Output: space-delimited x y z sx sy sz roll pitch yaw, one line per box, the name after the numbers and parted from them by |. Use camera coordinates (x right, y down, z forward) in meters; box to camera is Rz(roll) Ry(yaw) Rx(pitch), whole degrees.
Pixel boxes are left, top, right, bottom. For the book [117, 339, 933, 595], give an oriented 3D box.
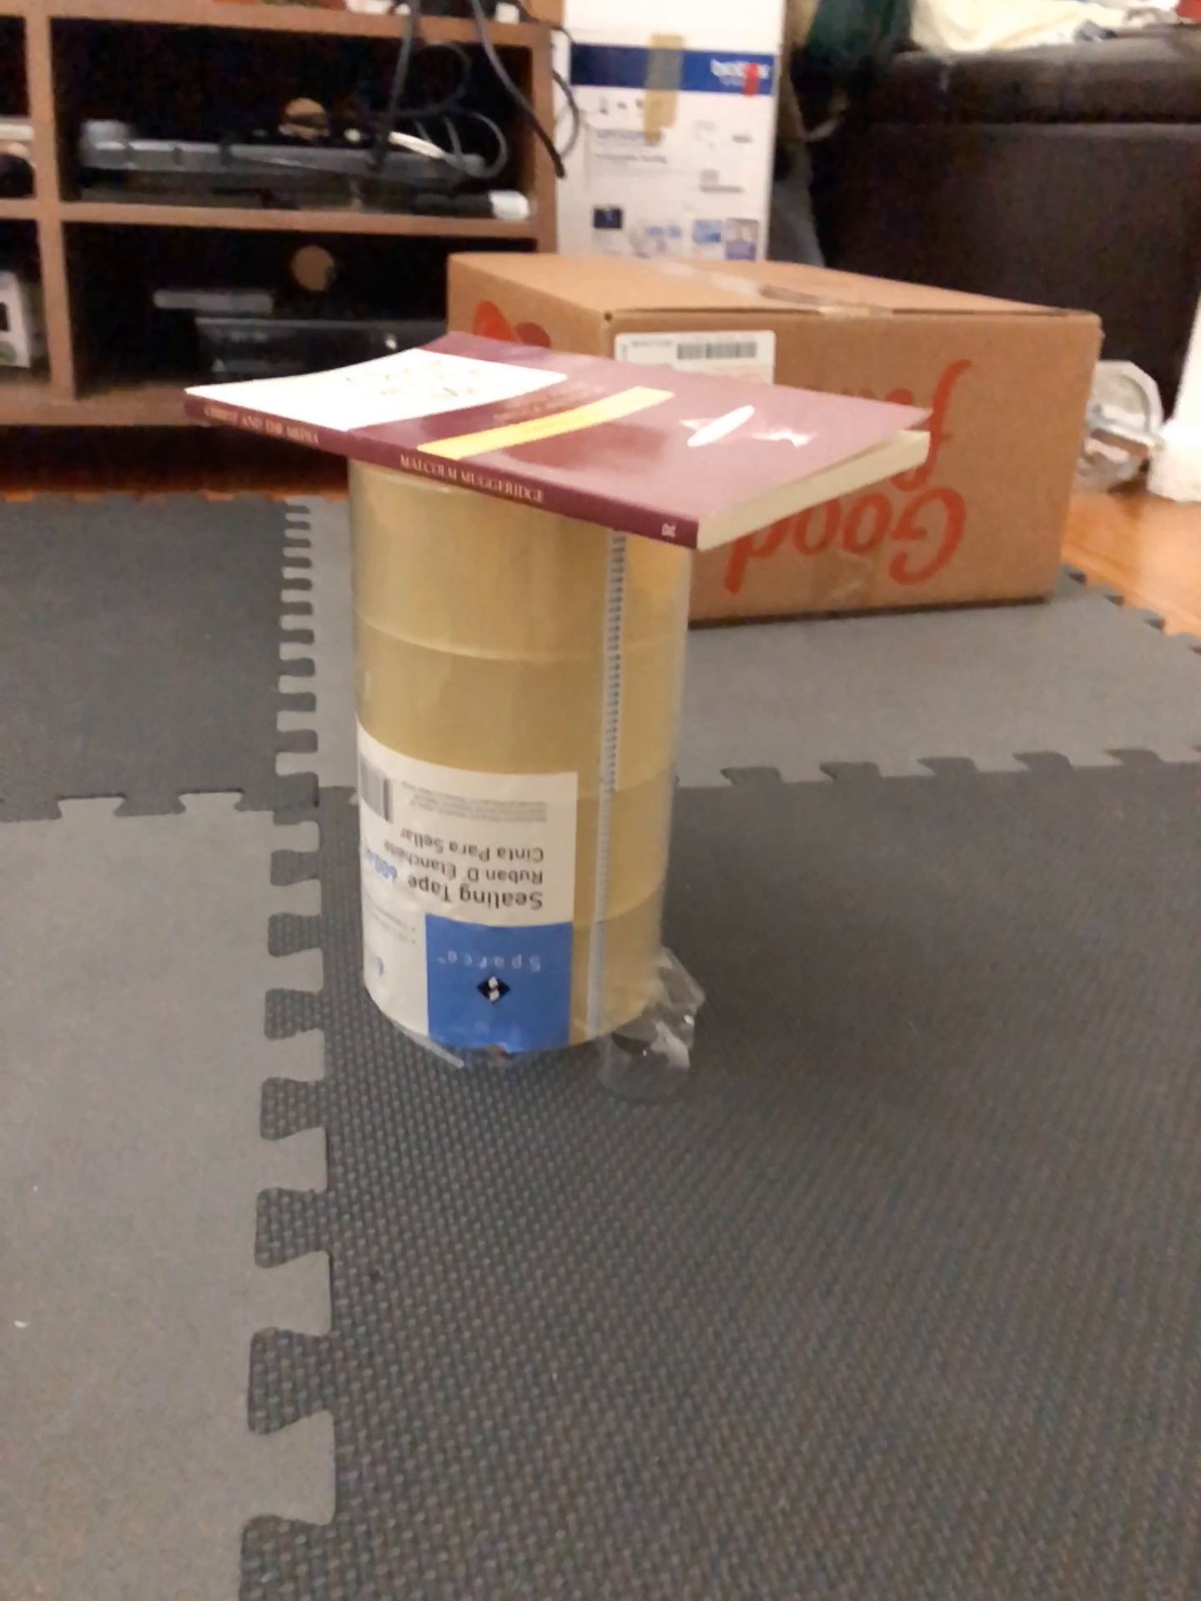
-0.024 -0.114 0.412 0.210 0.020 0.141 21 32 30 | book
